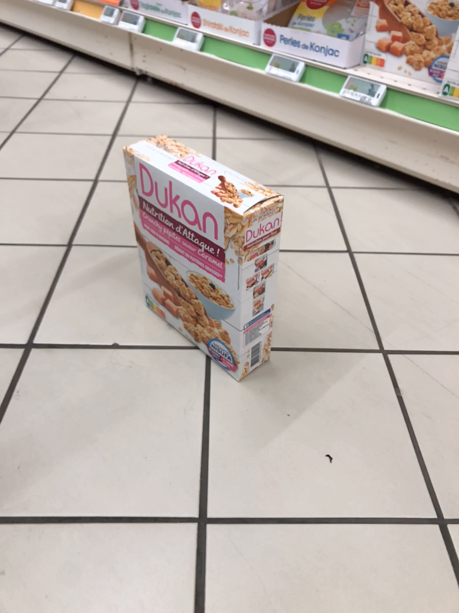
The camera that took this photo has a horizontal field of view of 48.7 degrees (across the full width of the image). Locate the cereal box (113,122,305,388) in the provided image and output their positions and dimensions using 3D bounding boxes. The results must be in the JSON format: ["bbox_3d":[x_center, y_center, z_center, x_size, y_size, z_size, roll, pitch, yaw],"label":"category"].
[{"bbox_3d":[-0.028,-0.054,0.516,0.060,0.199,0.190,-29,49,-33],"label":"cereal box"}]
